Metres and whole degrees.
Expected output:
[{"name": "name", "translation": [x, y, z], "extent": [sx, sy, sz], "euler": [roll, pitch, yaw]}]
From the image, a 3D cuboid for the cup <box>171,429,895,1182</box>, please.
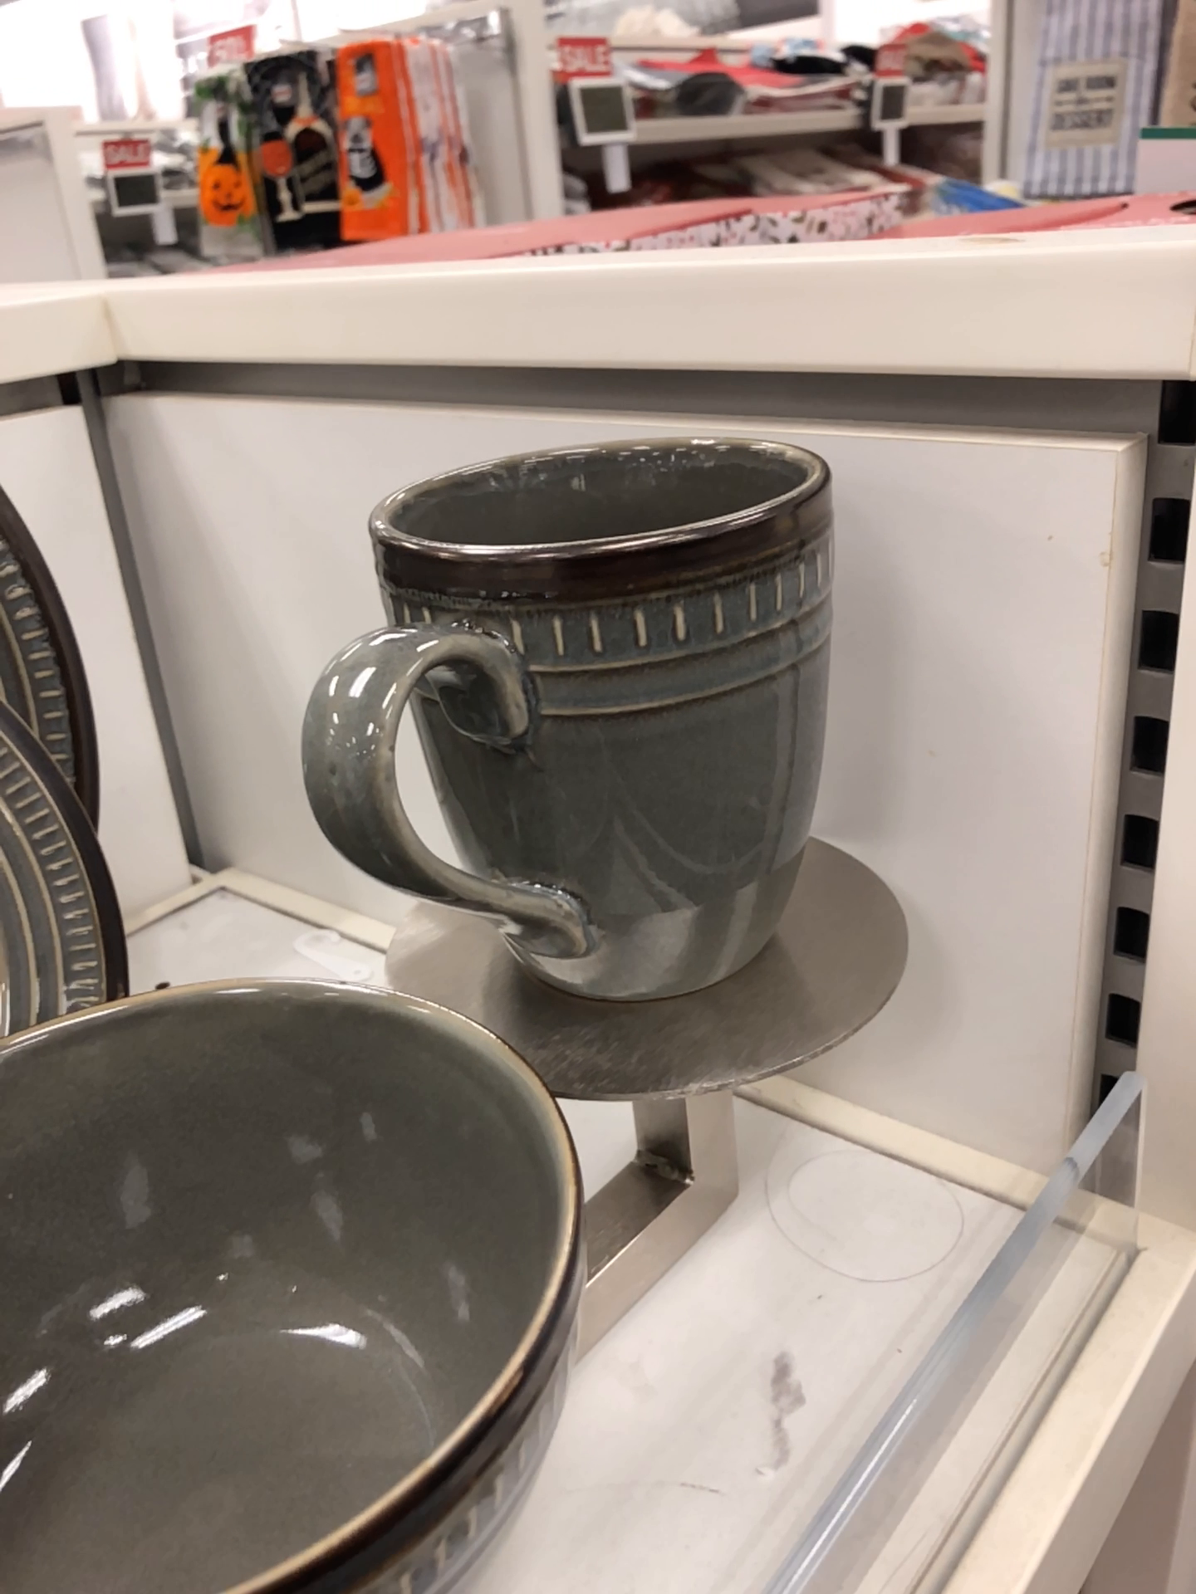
[{"name": "cup", "translation": [0.000, -0.012, 0.282], "extent": [0.089, 0.106, 0.127], "euler": [8, 28, 29]}]
